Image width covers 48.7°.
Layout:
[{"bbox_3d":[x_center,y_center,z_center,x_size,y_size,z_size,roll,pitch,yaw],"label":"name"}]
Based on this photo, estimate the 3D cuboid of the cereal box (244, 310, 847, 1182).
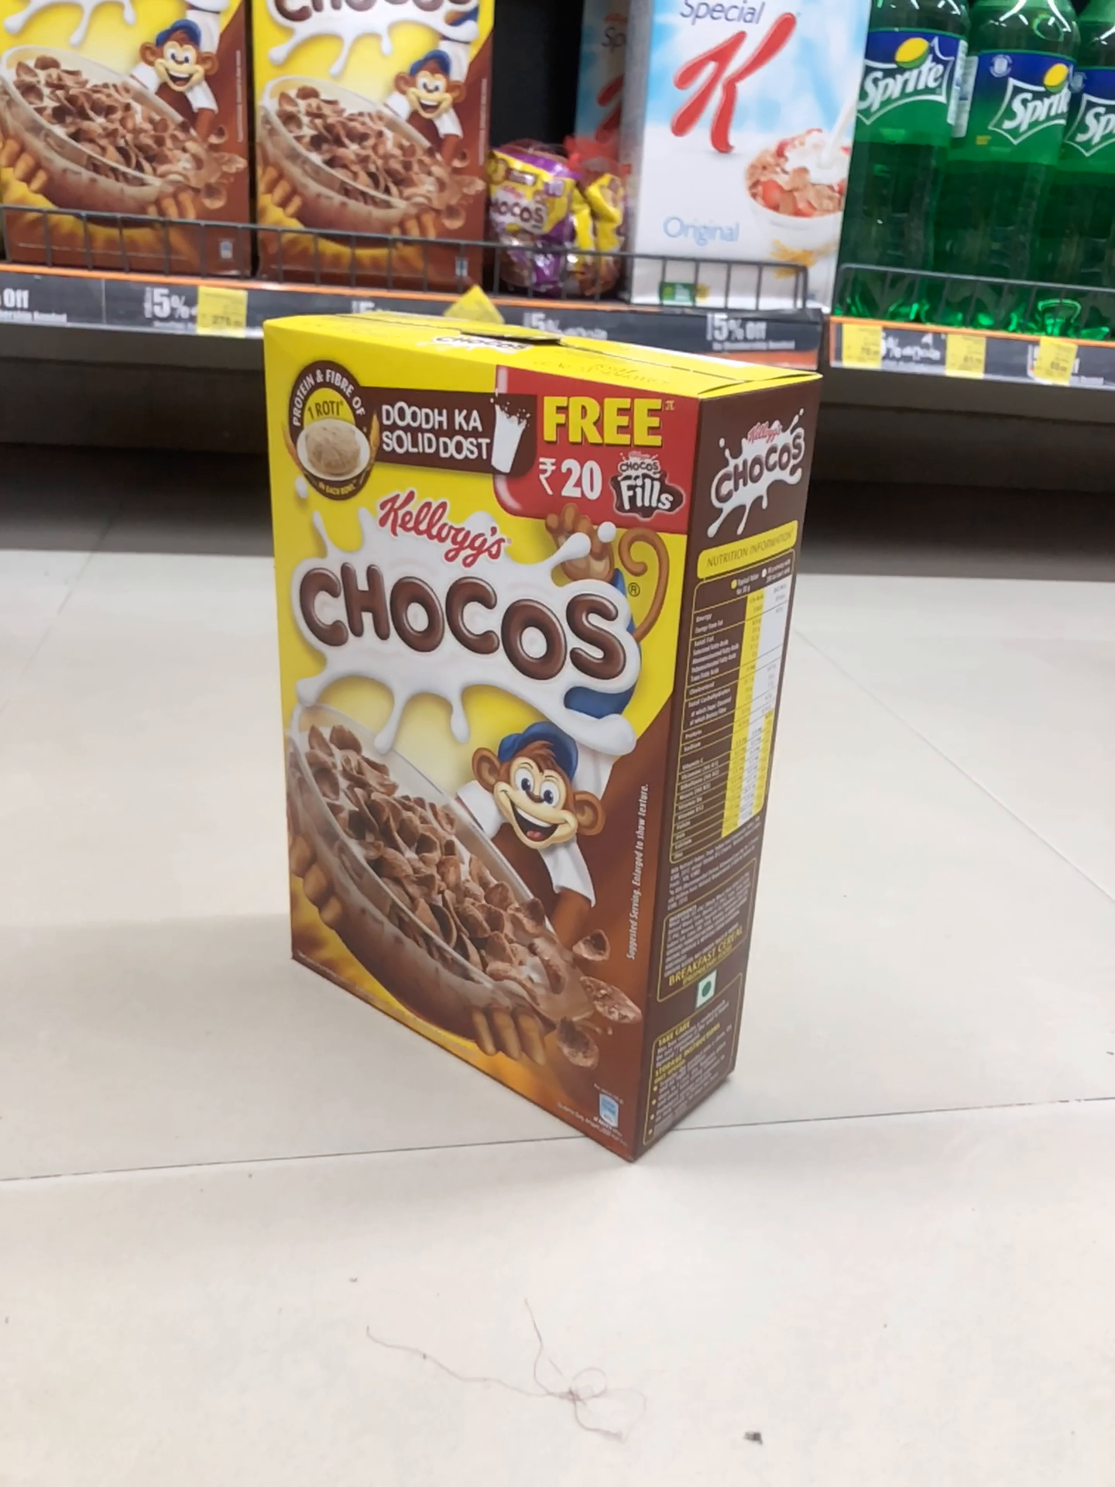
[{"bbox_3d":[-0.016,-0.008,0.443,0.190,0.259,0.070,21,30,34],"label":"cereal box"}]
